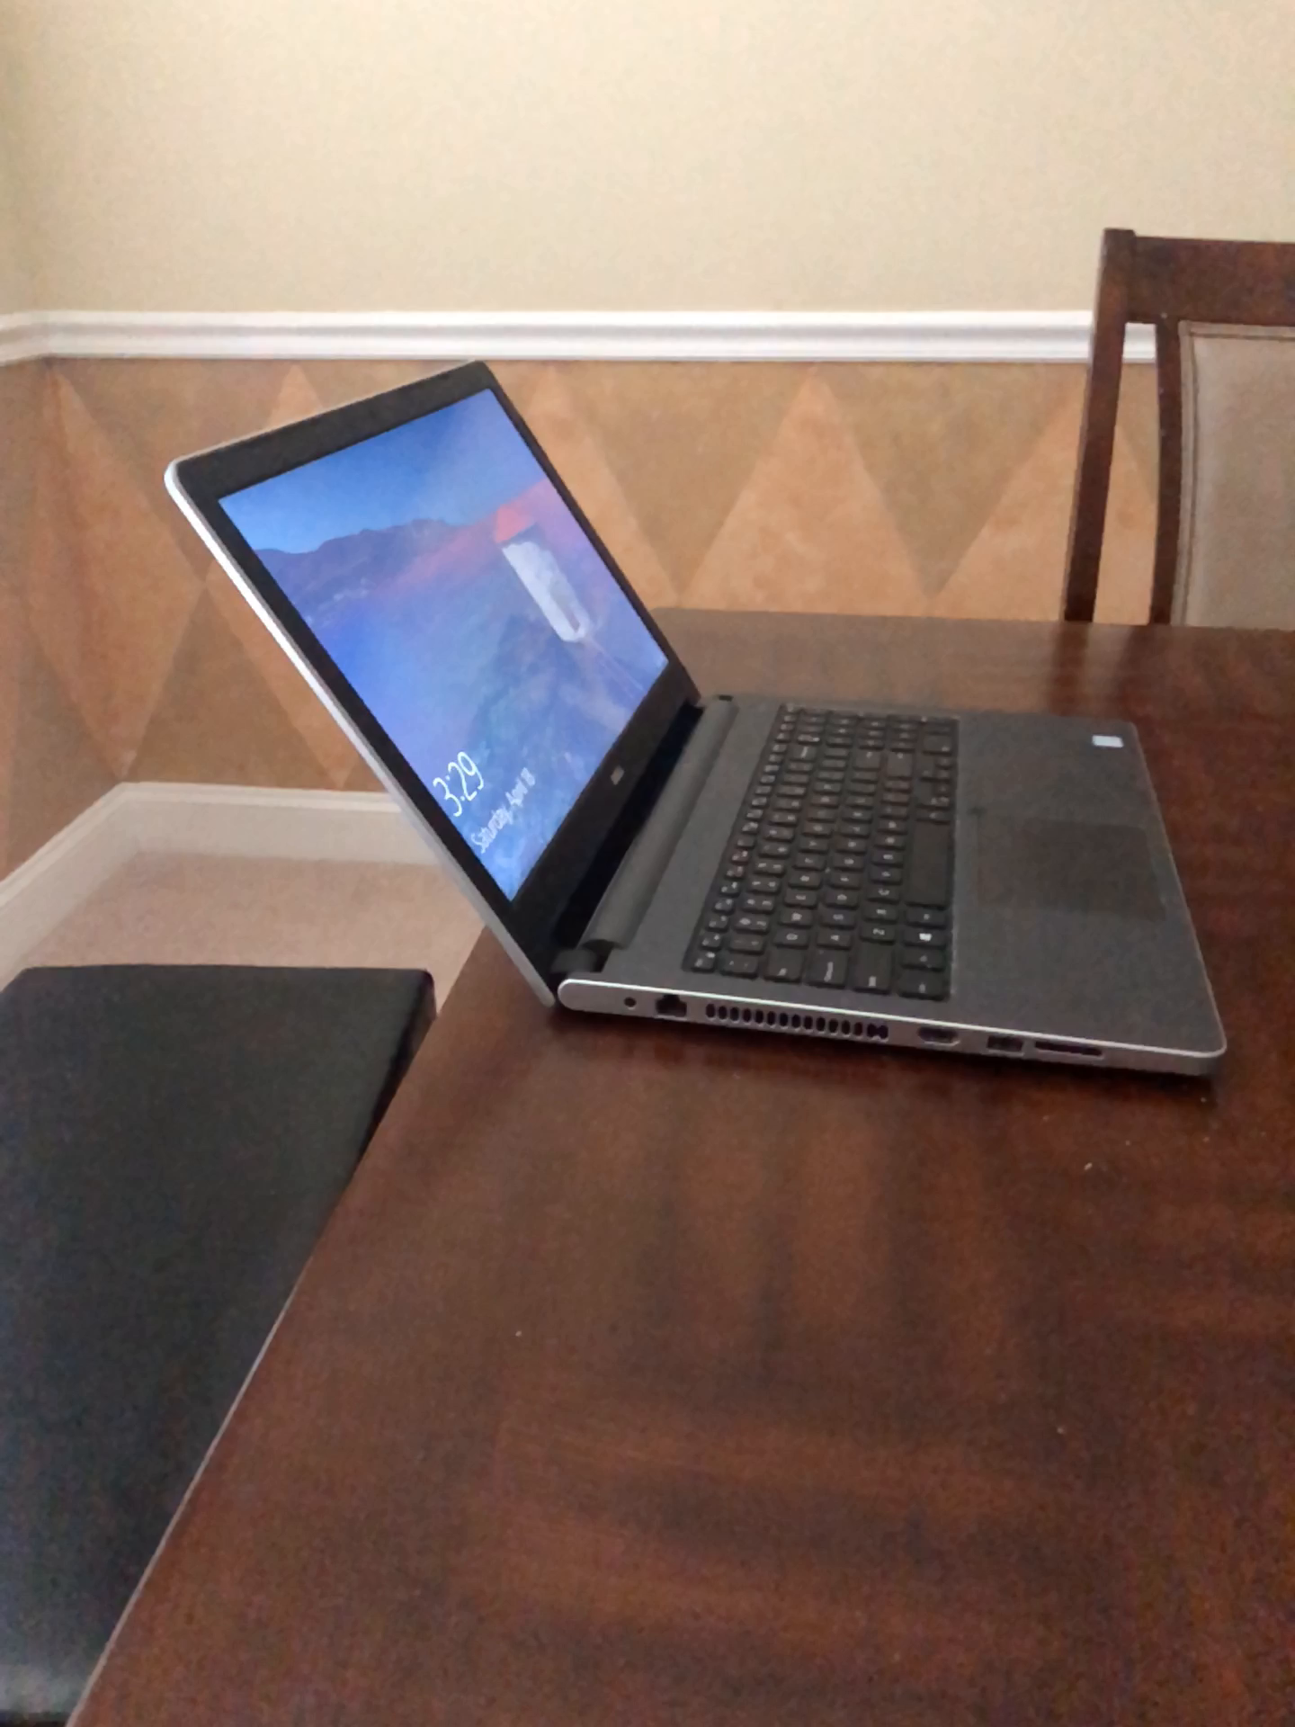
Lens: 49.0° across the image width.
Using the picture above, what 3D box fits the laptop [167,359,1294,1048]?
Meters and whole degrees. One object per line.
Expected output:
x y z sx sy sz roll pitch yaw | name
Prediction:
0.057 -0.114 0.683 0.391 0.198 0.368 5 25 10 | laptop
